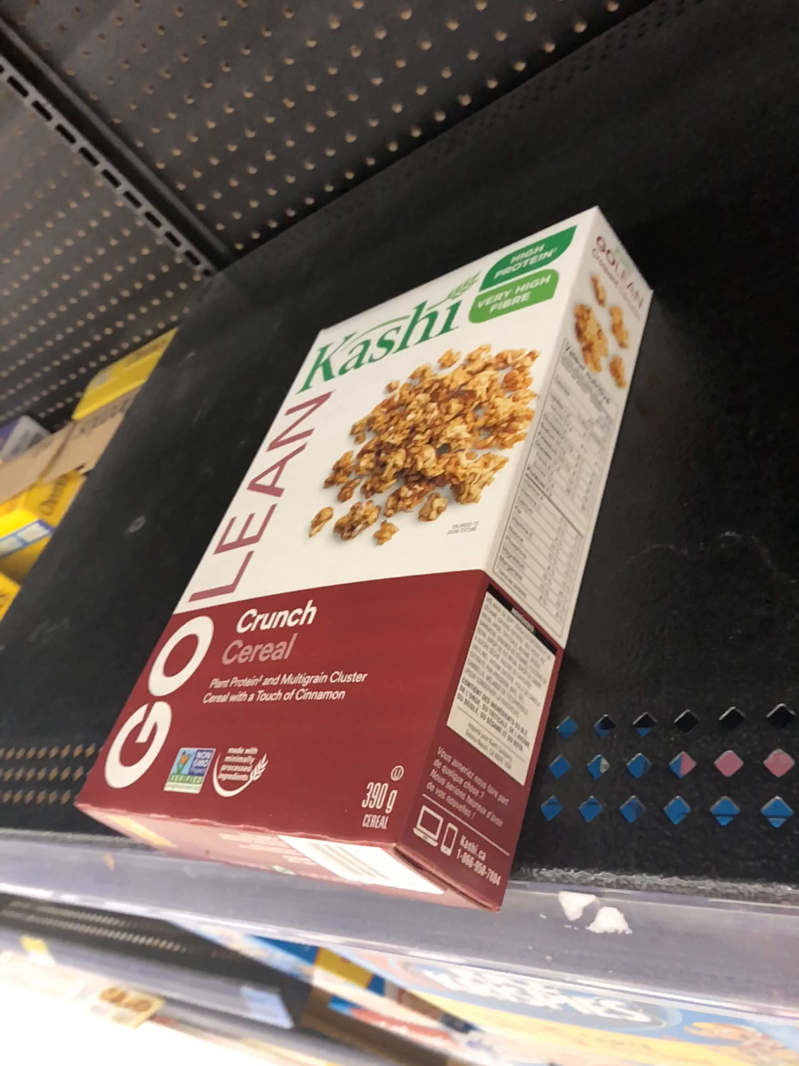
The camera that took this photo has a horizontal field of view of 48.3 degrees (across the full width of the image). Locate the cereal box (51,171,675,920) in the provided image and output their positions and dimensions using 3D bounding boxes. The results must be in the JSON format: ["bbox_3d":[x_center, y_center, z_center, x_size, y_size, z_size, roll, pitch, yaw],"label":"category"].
[{"bbox_3d":[-0.002,-0.009,0.364,0.181,0.050,0.290,-13,44,40],"label":"cereal box"}]
